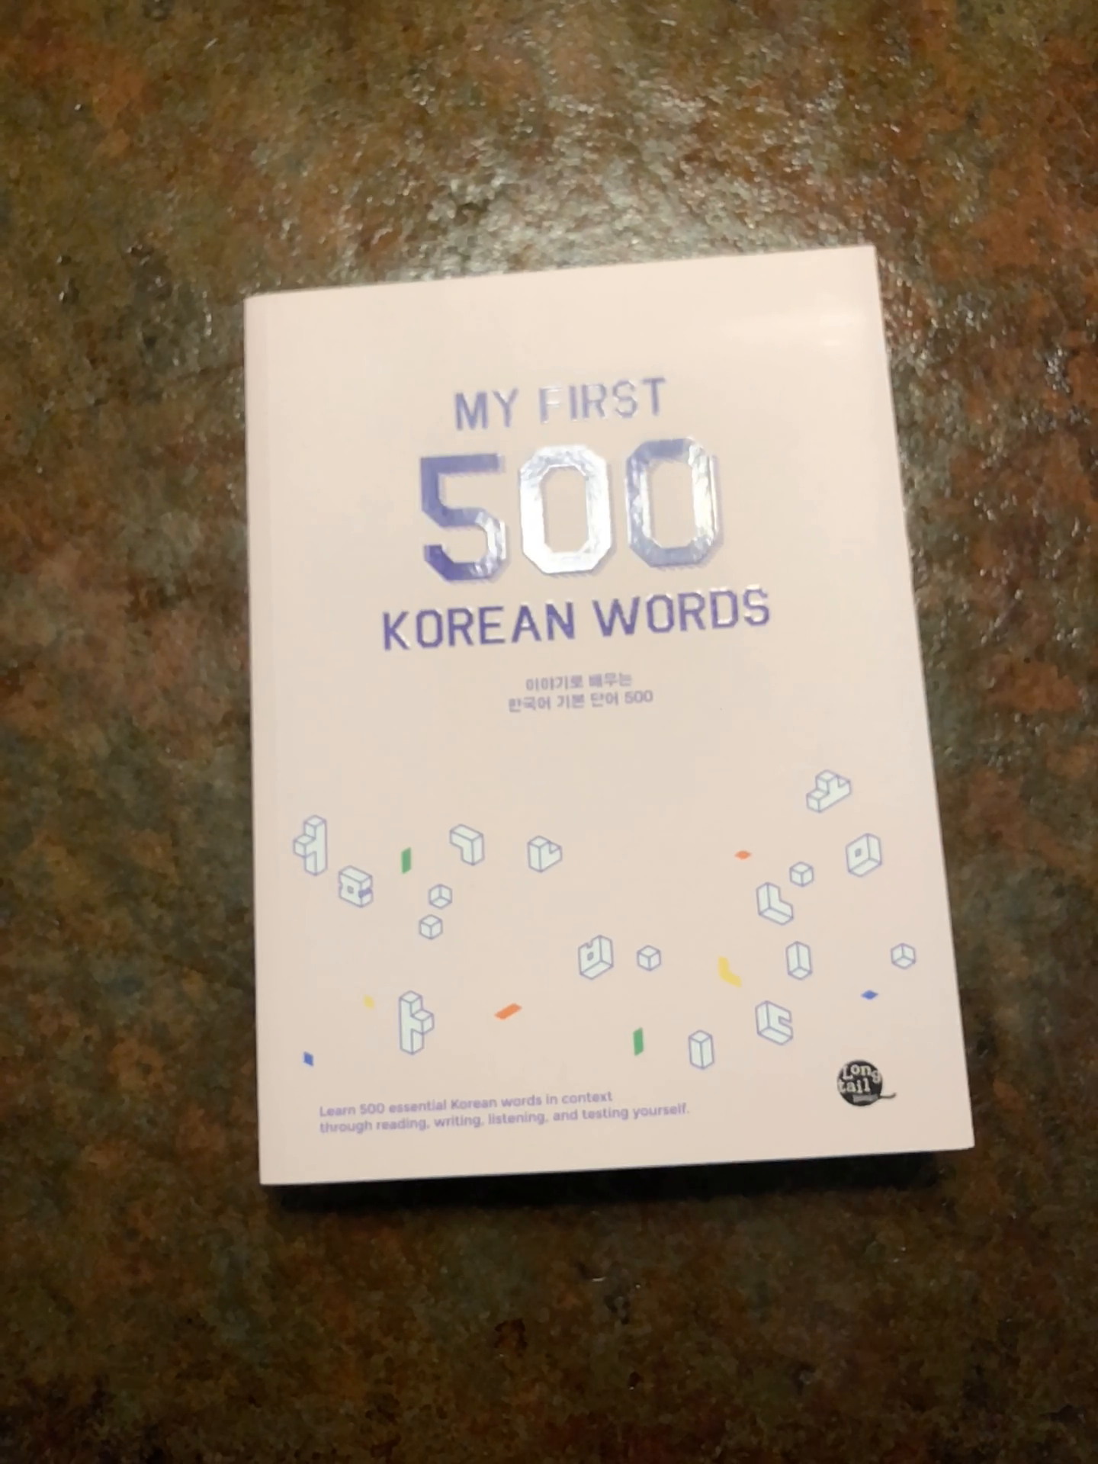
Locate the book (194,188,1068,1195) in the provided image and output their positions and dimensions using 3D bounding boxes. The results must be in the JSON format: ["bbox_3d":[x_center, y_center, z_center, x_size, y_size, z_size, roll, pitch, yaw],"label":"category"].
[{"bbox_3d":[0.012,-0.014,0.302,0.190,0.030,0.230,-4,80,1],"label":"book"}]
